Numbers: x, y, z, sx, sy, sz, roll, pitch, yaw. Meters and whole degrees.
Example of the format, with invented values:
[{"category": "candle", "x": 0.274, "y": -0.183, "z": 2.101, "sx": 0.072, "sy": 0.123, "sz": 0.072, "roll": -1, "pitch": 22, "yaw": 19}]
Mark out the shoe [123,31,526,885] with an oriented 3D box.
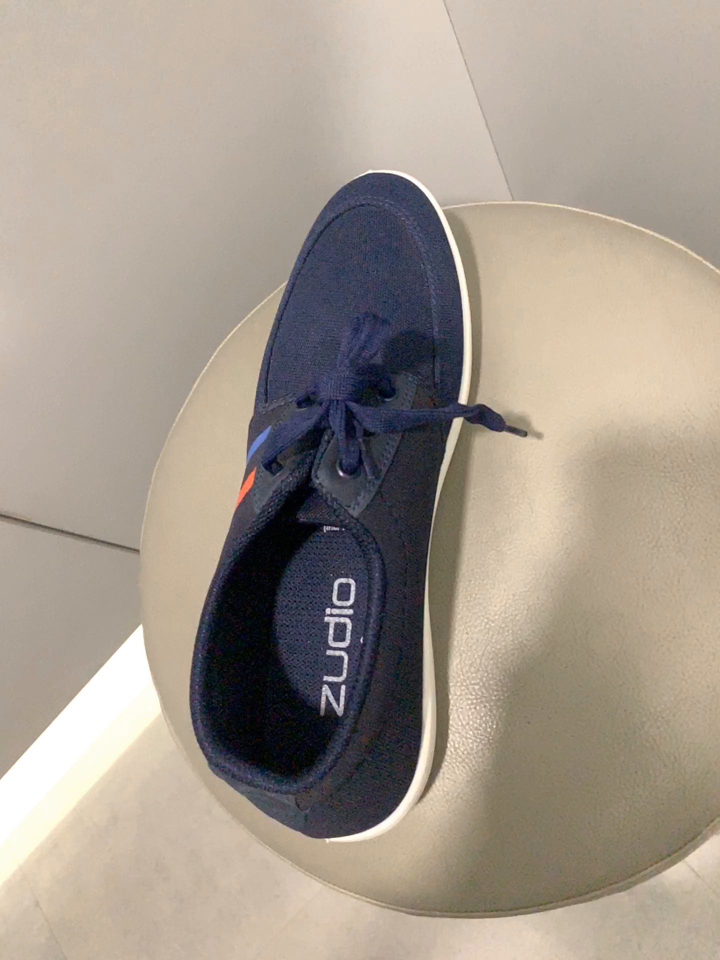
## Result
[{"category": "shoe", "x": 0.001, "y": -0.014, "z": 0.306, "sx": 0.100, "sy": 0.100, "sz": 0.290, "roll": 0, "pitch": 76, "yaw": 24}]
